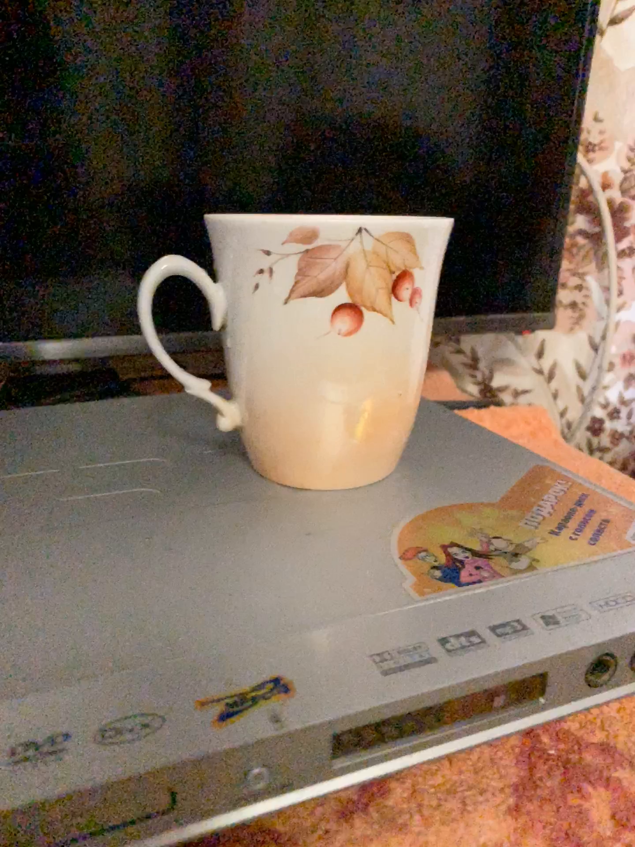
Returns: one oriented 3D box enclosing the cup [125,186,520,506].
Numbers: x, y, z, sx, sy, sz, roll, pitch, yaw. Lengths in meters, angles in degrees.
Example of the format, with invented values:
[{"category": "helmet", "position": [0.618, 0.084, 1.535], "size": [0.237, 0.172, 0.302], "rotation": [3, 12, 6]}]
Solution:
[{"category": "cup", "position": [-0.007, -0.038, 0.253], "size": [0.113, 0.091, 0.101], "rotation": [-5, 18, -23]}]
